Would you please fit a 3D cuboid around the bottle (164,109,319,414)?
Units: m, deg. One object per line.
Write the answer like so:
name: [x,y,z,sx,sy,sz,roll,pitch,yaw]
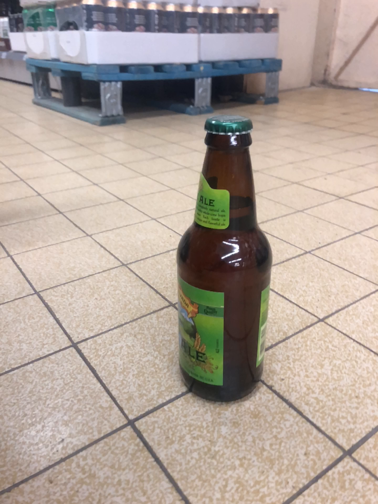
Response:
bottle: [0.026,0.009,0.279,0.070,0.189,0.060,-7,27,-15]
